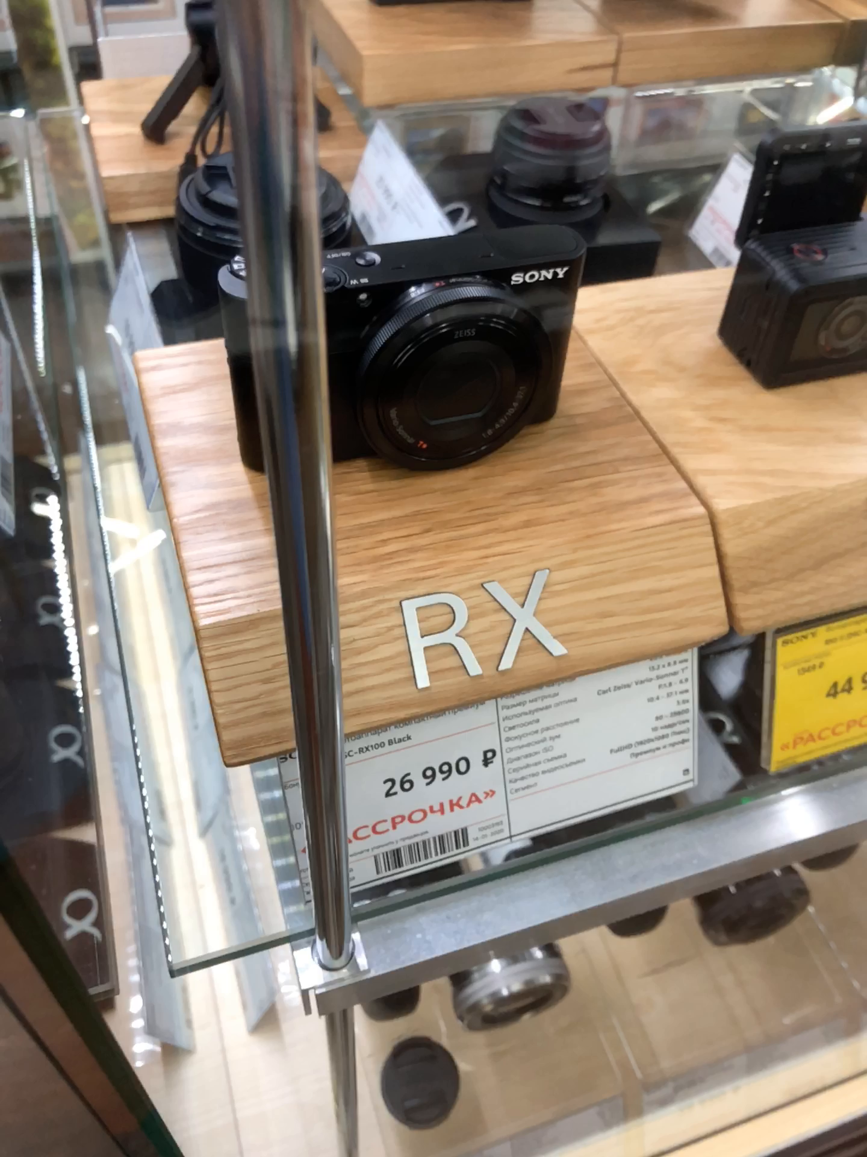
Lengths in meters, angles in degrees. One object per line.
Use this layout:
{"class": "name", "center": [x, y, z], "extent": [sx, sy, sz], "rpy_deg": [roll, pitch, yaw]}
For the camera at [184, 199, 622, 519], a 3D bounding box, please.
{"class": "camera", "center": [-0.009, -0.062, 0.271], "extent": [0.106, 0.062, 0.037], "rpy_deg": [-13, 50, -15]}
